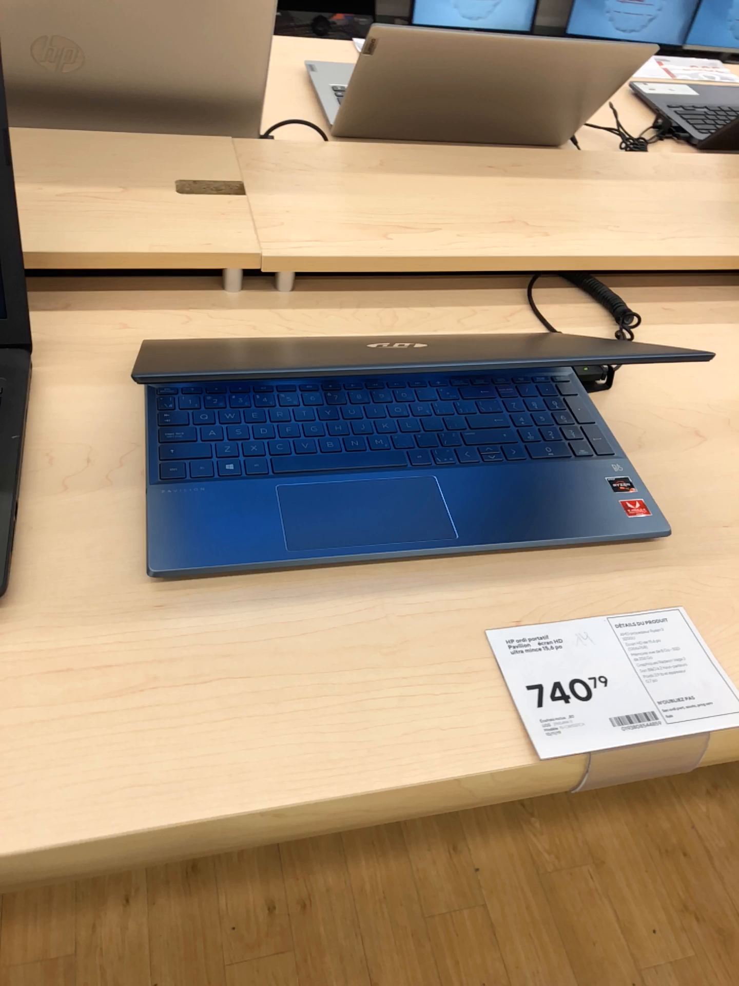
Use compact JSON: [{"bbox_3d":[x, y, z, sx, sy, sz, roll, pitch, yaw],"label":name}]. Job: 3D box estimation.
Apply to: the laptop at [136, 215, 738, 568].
[{"bbox_3d":[0.025,-0.081,0.562,0.350,0.119,0.209,-3,46,-14],"label":"laptop"}]
